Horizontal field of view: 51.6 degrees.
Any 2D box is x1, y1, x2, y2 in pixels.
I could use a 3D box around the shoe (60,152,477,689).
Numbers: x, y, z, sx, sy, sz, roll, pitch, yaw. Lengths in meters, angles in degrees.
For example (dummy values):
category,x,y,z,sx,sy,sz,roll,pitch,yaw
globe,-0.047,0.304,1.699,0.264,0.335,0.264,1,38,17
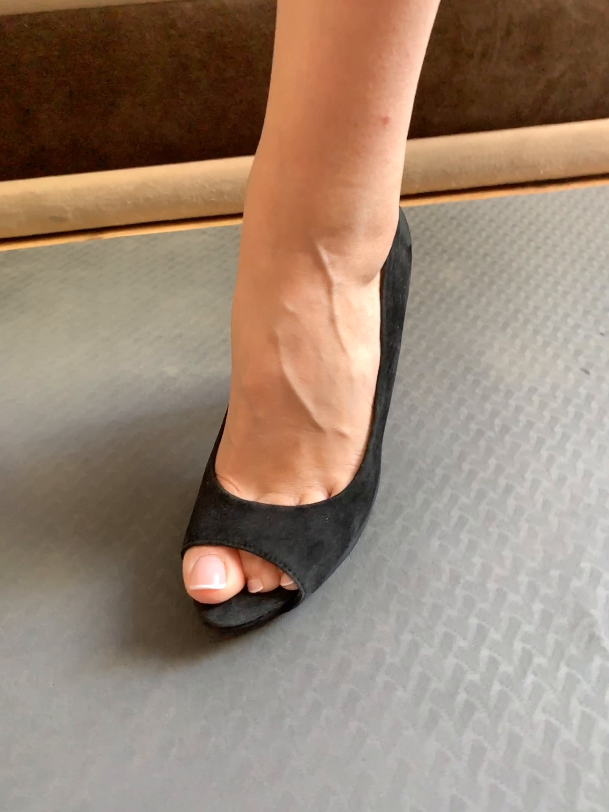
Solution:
category,x,y,z,sx,sy,sz,roll,pitch,yaw
shoe,0.008,-0.012,0.301,0.090,0.139,0.211,13,43,19
